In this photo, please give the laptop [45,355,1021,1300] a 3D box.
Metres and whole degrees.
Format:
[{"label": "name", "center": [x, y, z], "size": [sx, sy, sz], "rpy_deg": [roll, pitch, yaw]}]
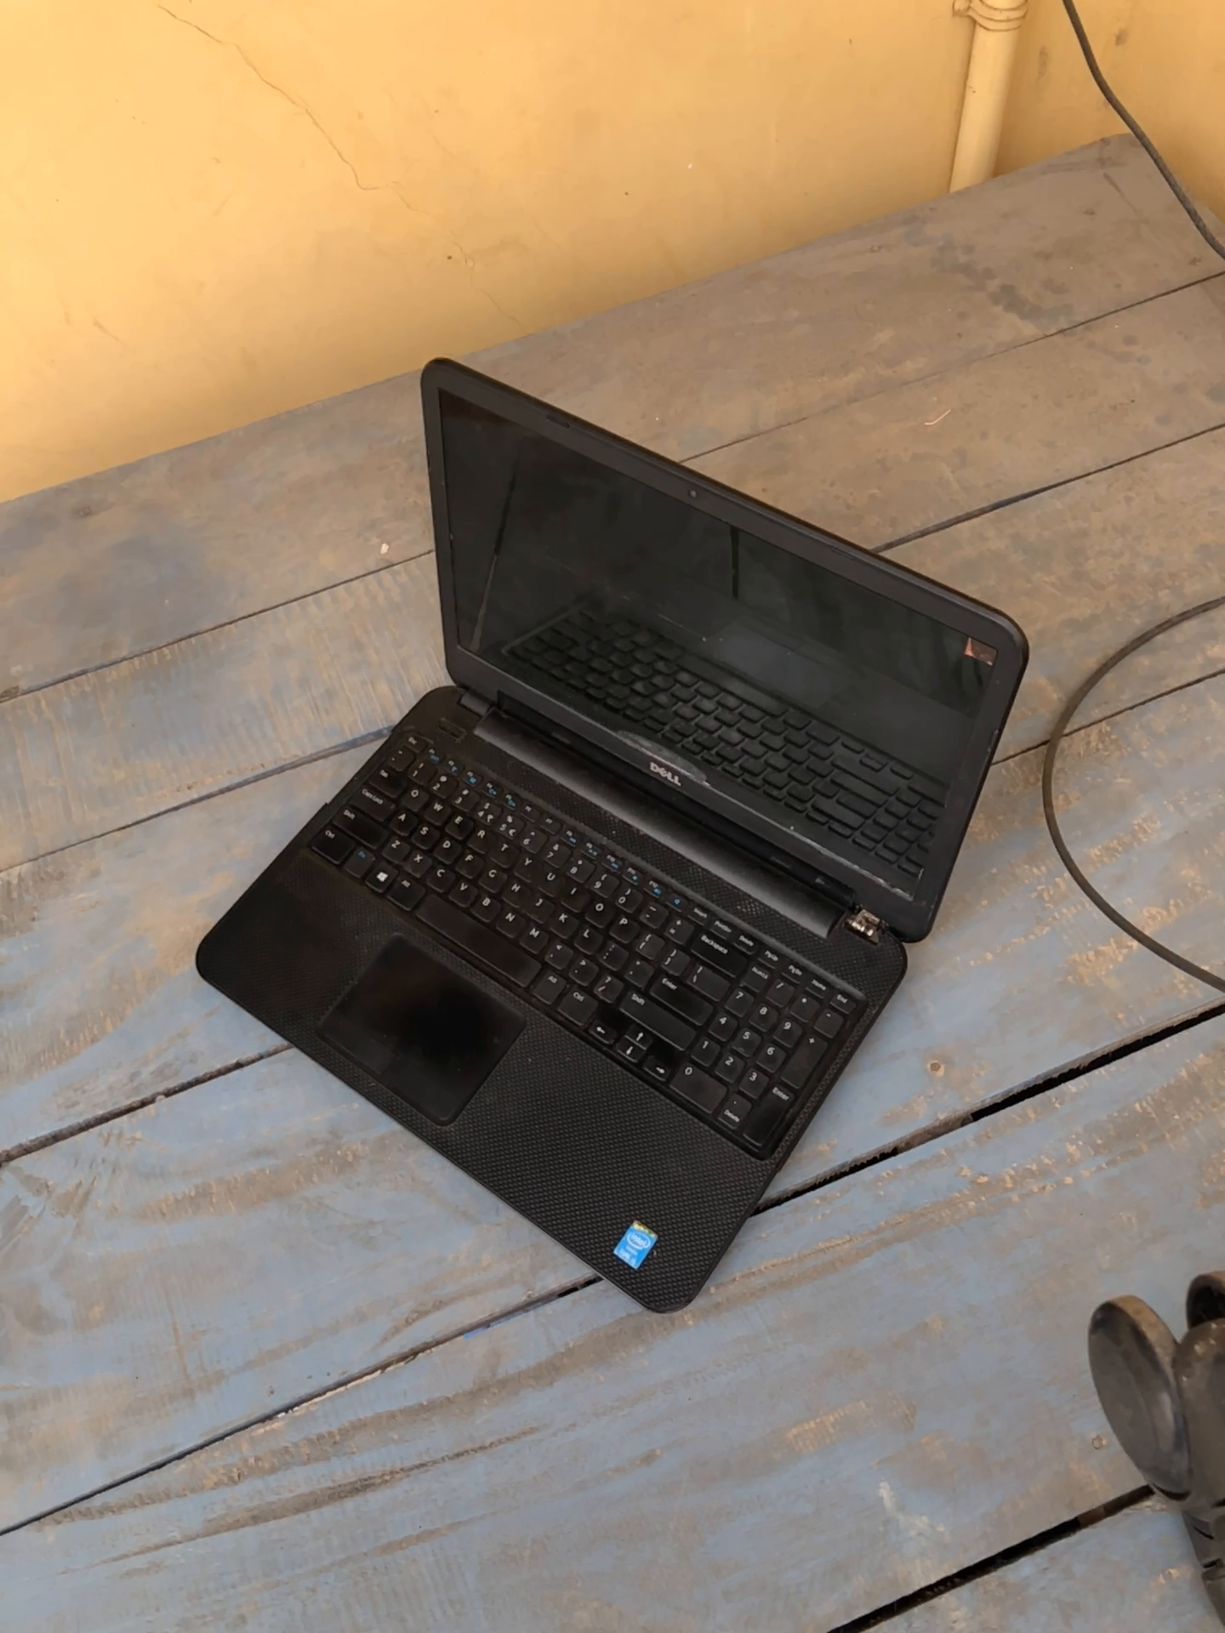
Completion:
[{"label": "laptop", "center": [-0.031, -0.004, 0.704], "size": [0.332, 0.214, 0.307], "rpy_deg": [30, 67, 23]}]
